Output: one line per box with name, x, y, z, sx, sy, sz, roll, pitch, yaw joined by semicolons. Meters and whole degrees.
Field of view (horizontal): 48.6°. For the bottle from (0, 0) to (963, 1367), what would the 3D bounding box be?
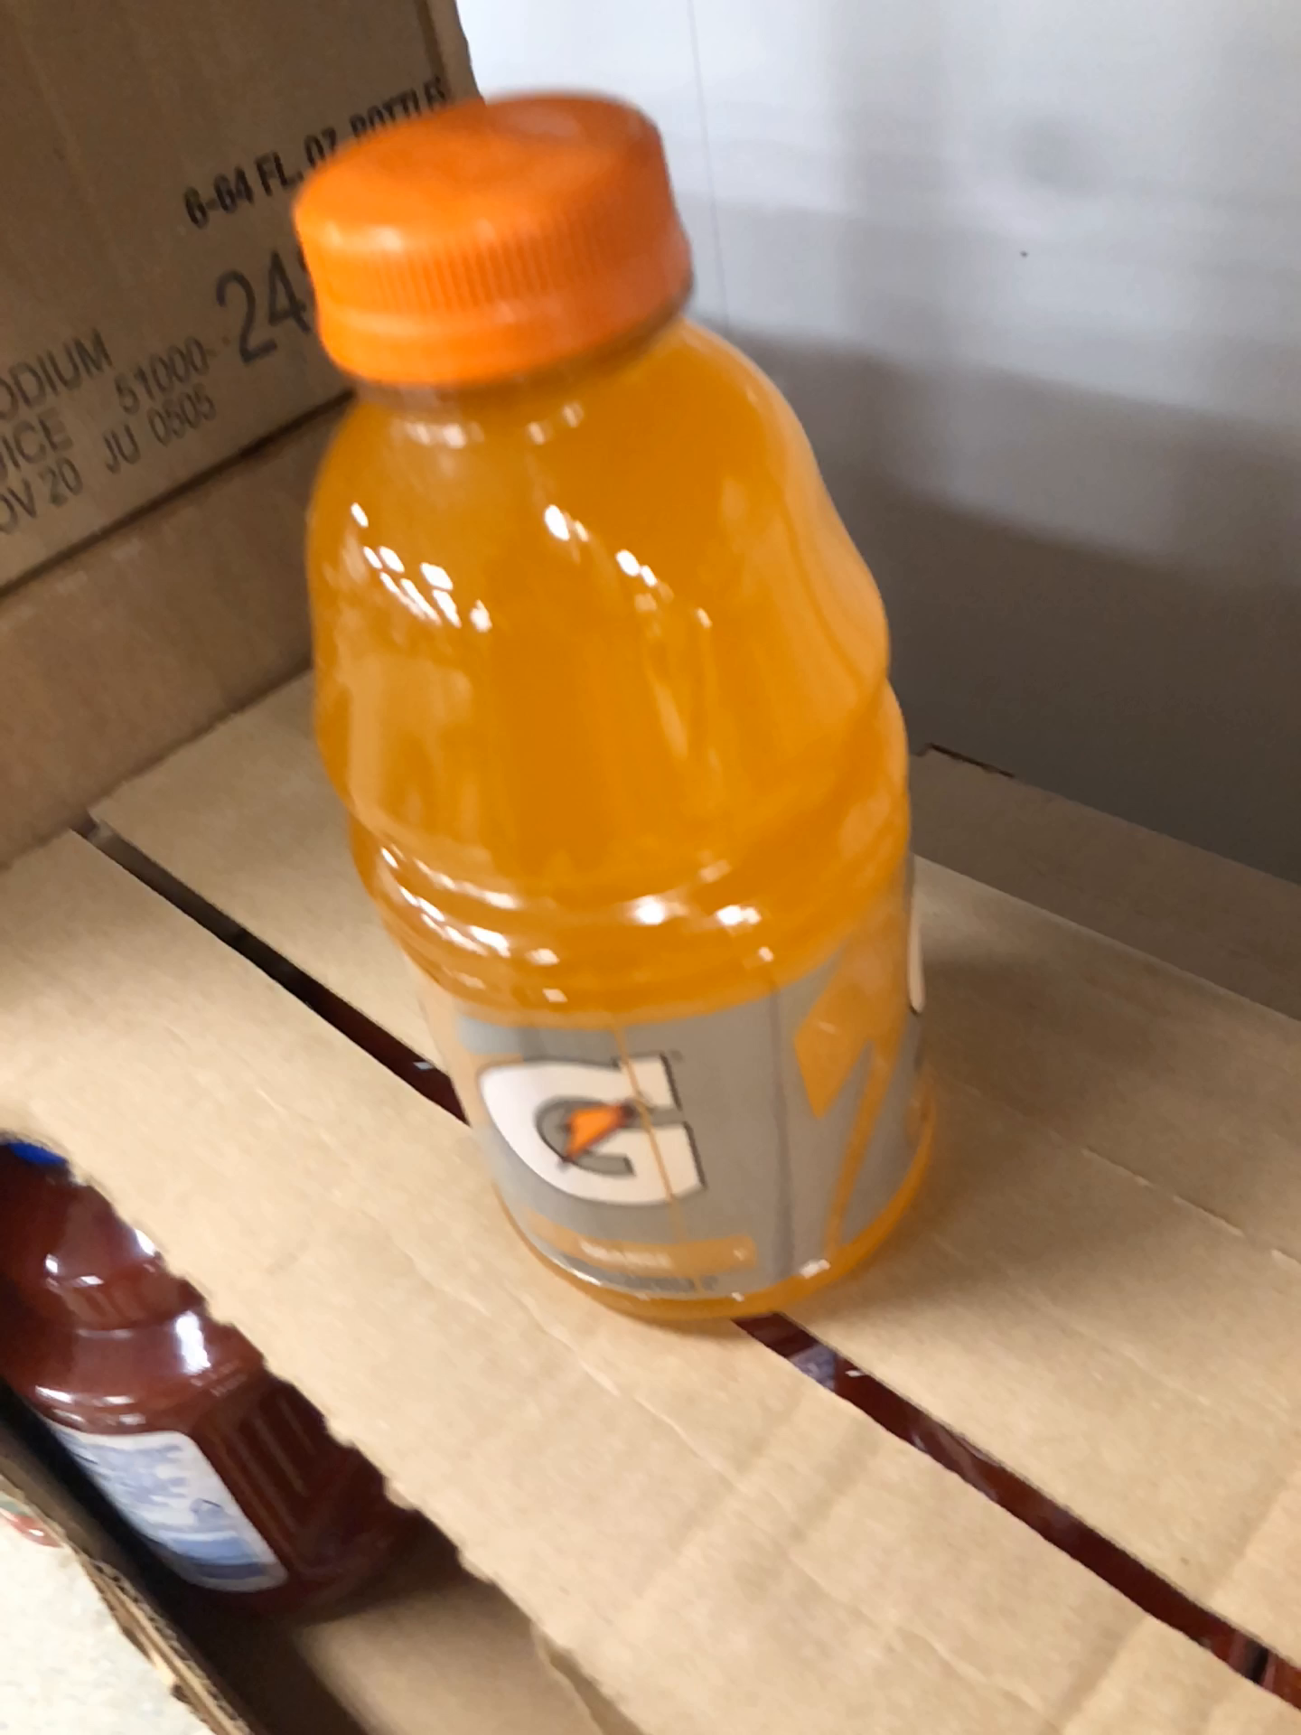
bottle;-0.002;-0.019;0.227;0.092;0.180;0.100;-7;41;6
